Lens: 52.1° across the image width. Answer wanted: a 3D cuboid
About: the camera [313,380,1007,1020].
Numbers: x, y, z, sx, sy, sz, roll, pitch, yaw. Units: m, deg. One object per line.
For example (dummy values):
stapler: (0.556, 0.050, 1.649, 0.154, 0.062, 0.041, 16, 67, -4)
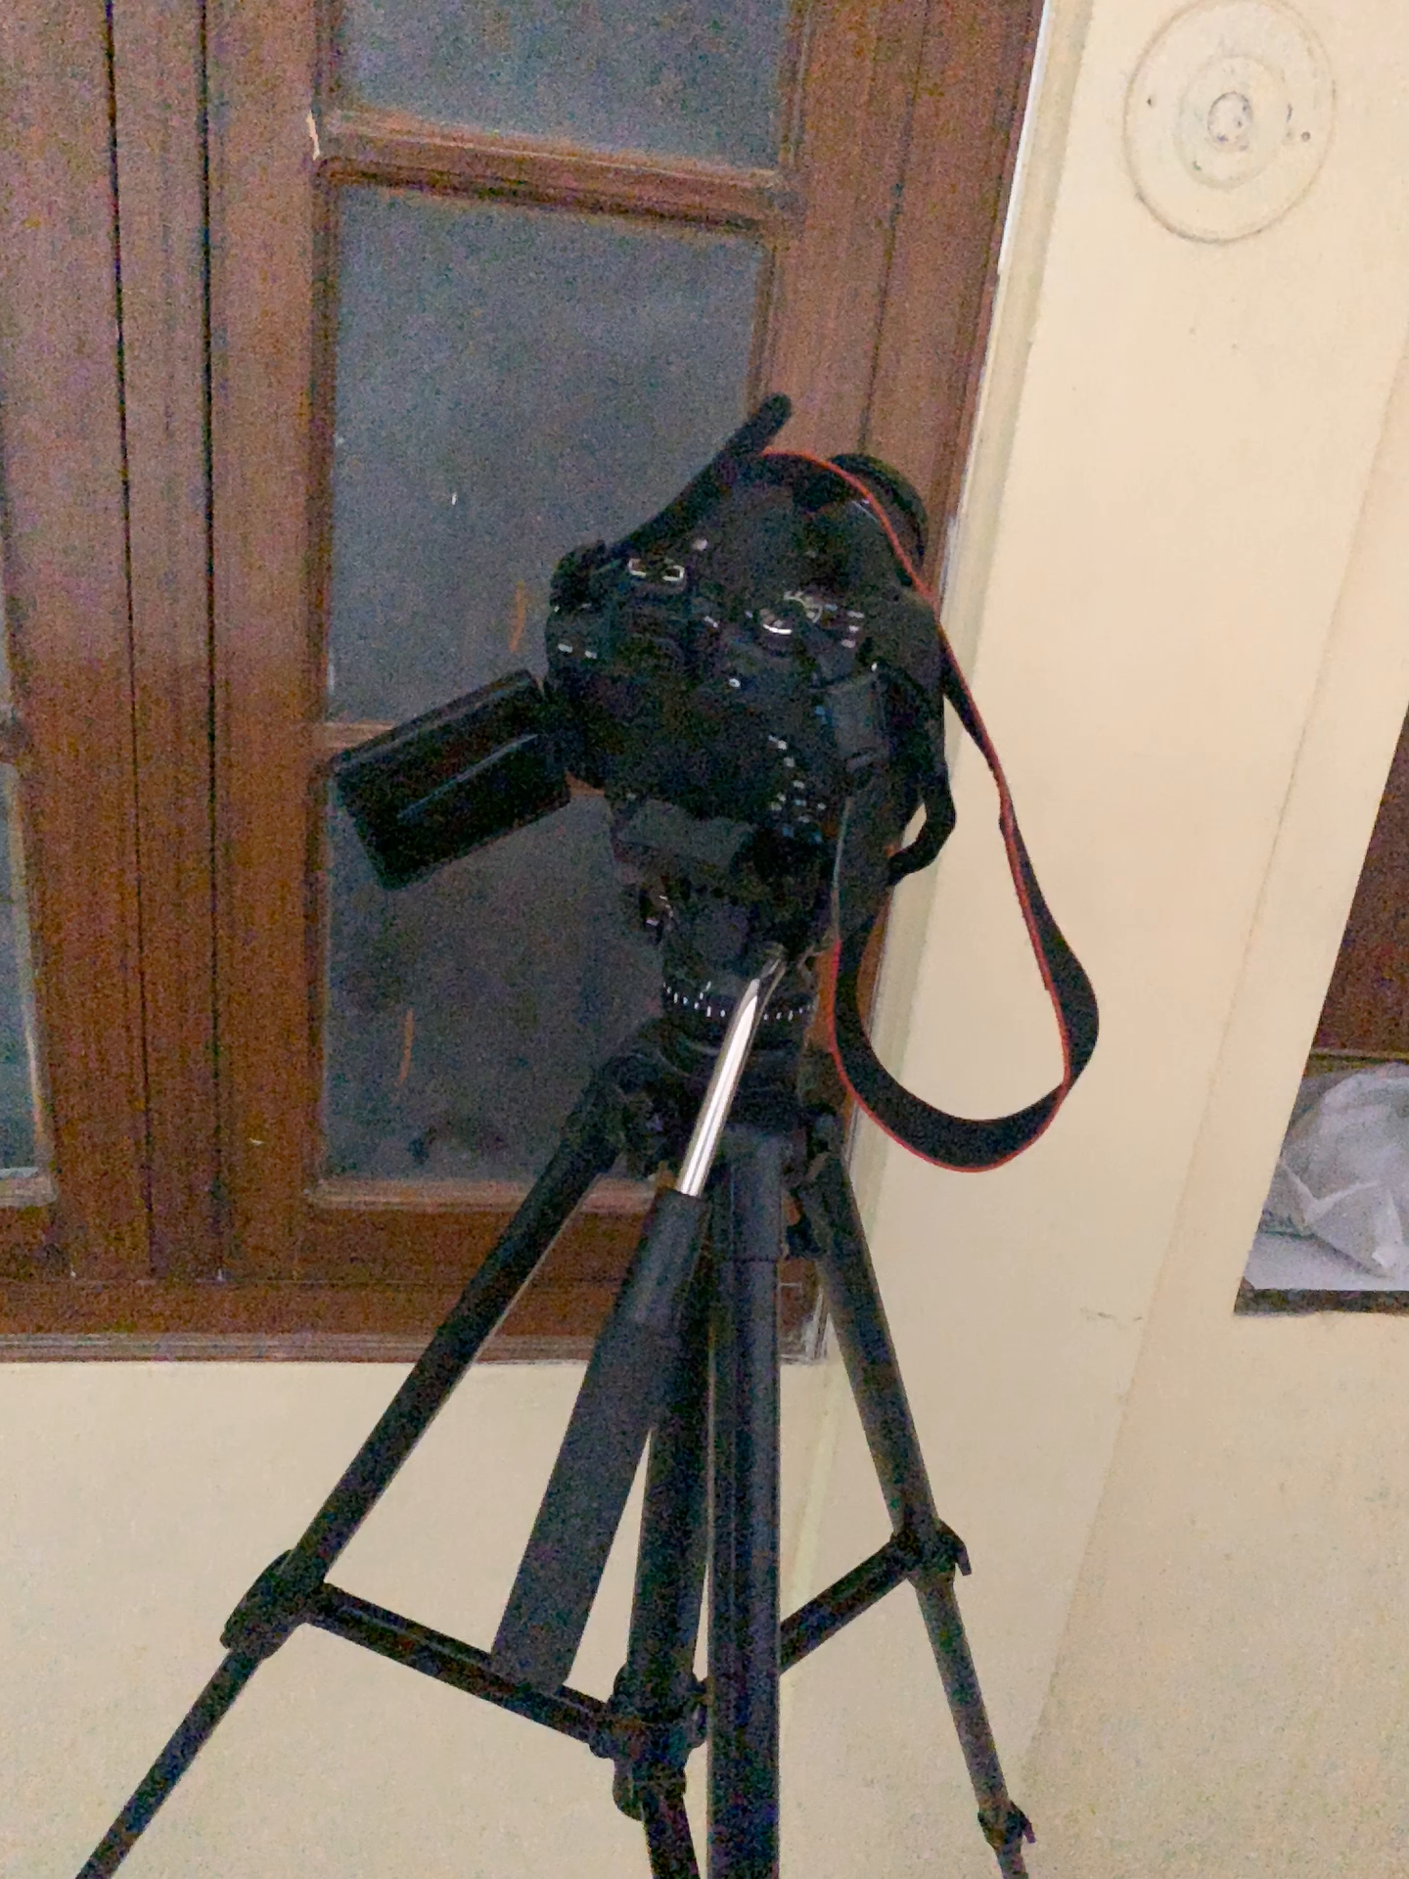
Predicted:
camera: (0.000, -0.101, 0.517, 0.142, 0.099, 0.226, 17, 47, 24)
